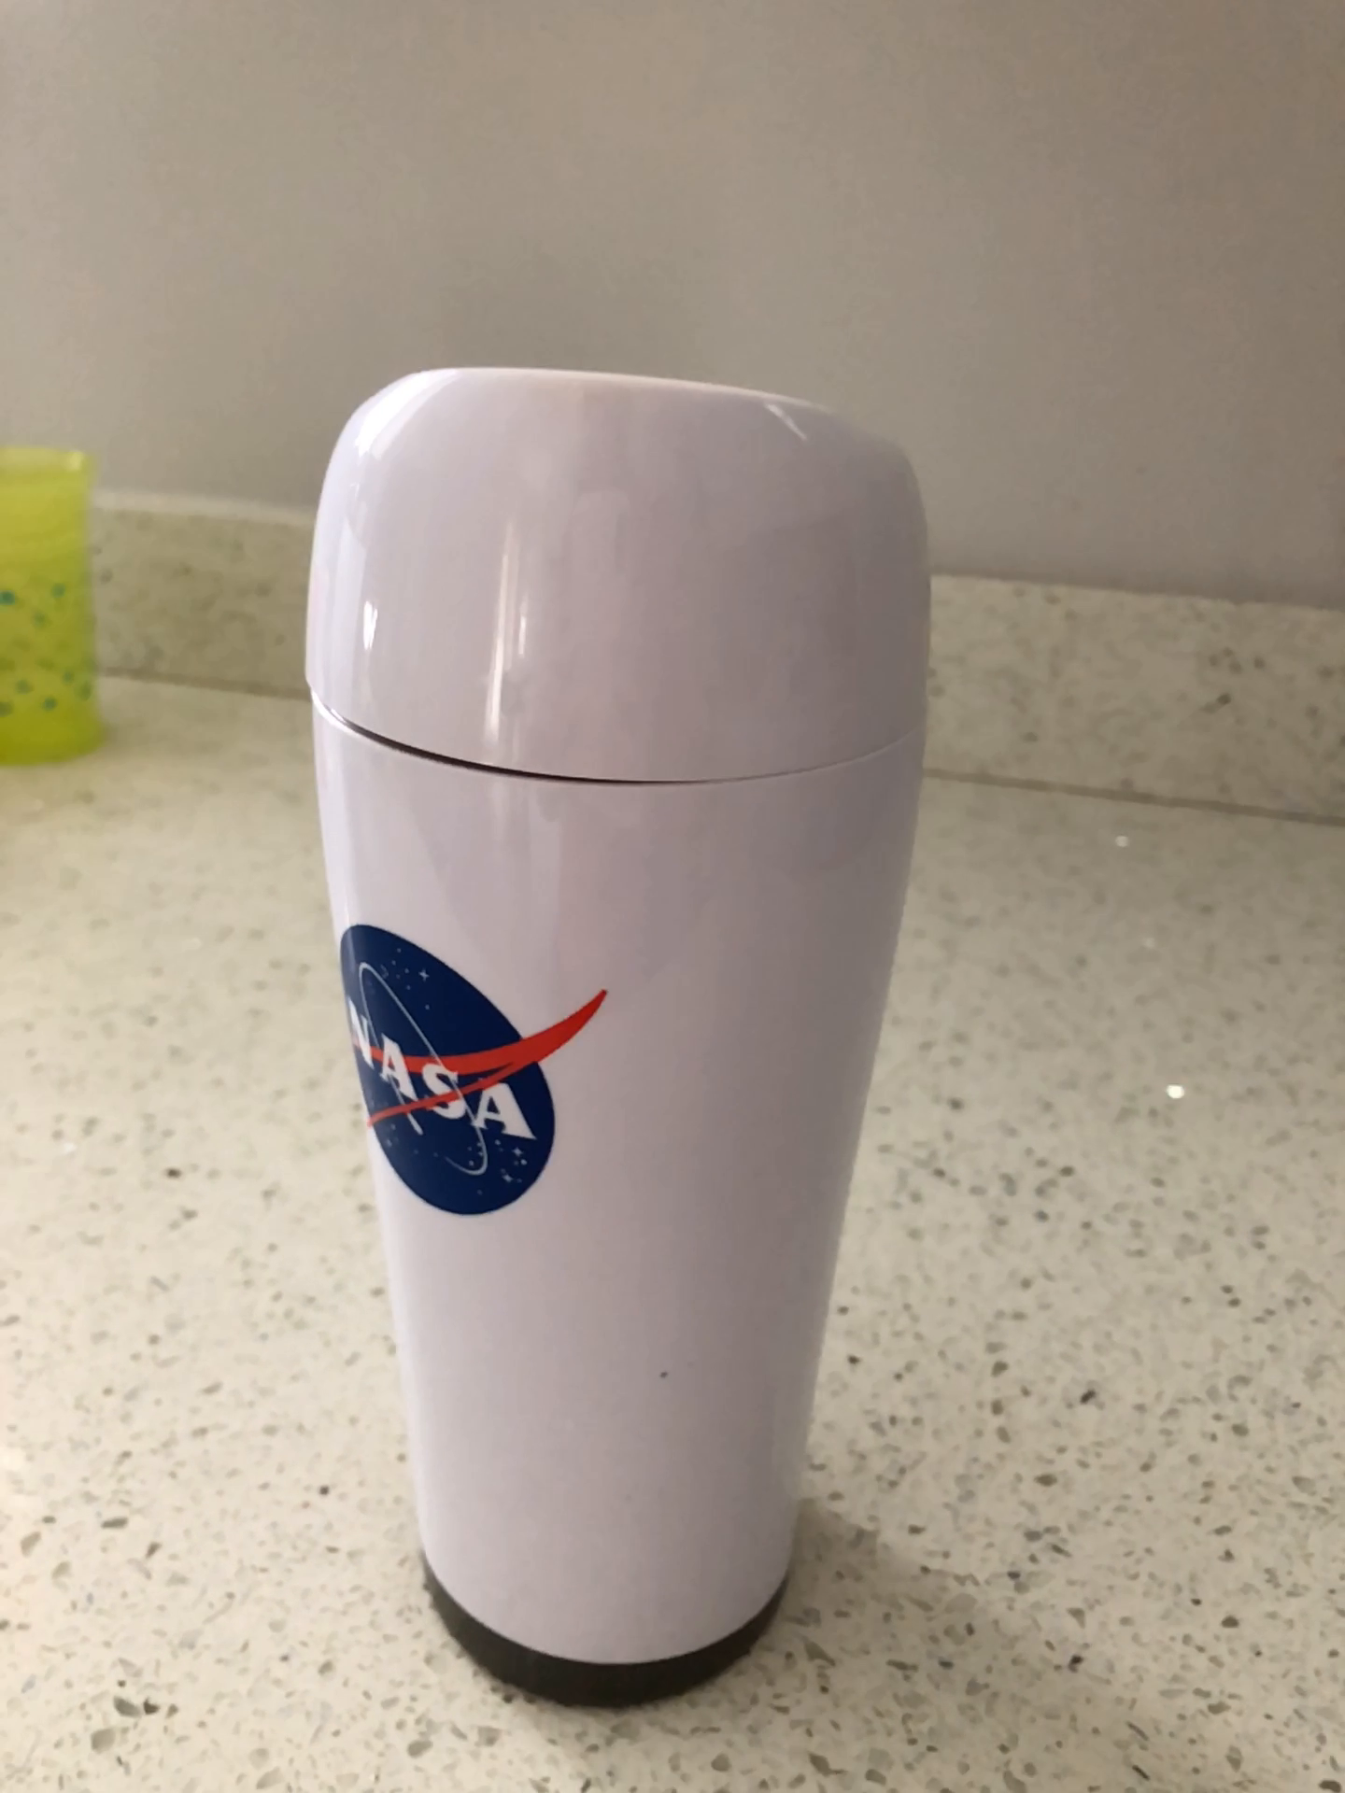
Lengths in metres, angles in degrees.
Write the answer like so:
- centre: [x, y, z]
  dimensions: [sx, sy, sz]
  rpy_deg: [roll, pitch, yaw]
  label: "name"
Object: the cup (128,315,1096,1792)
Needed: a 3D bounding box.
- centre: [-0.008, 0.020, 0.213]
  dimensions: [0.078, 0.182, 0.081]
  rpy_deg: [1, 25, -1]
  label: "cup"
